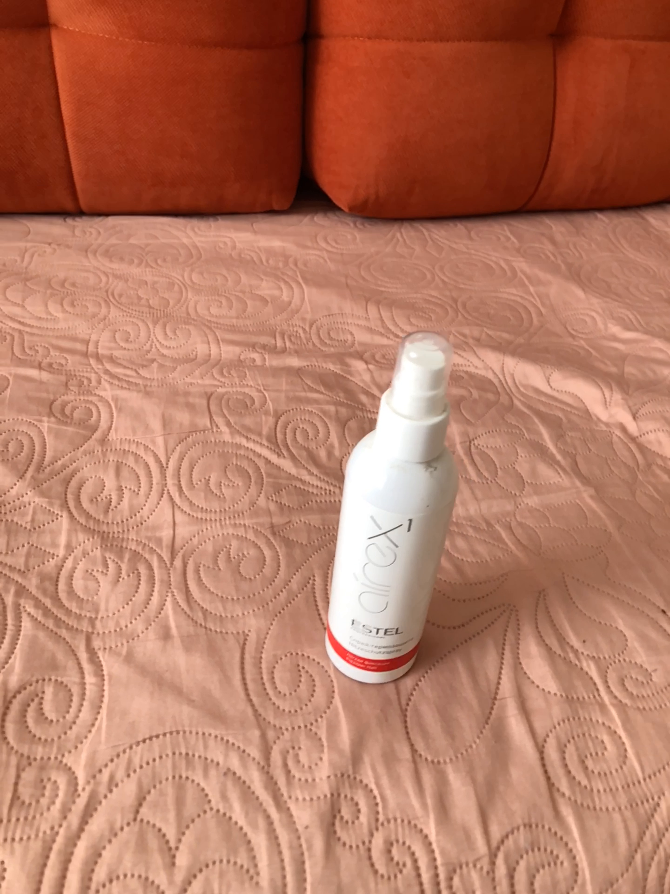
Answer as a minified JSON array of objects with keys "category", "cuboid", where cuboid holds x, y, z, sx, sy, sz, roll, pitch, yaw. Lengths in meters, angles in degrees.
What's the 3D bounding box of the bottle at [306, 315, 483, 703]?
[{"category":"bottle","cuboid":[0.021,0.035,0.313,0.050,0.169,0.050,3,39,-3]}]
